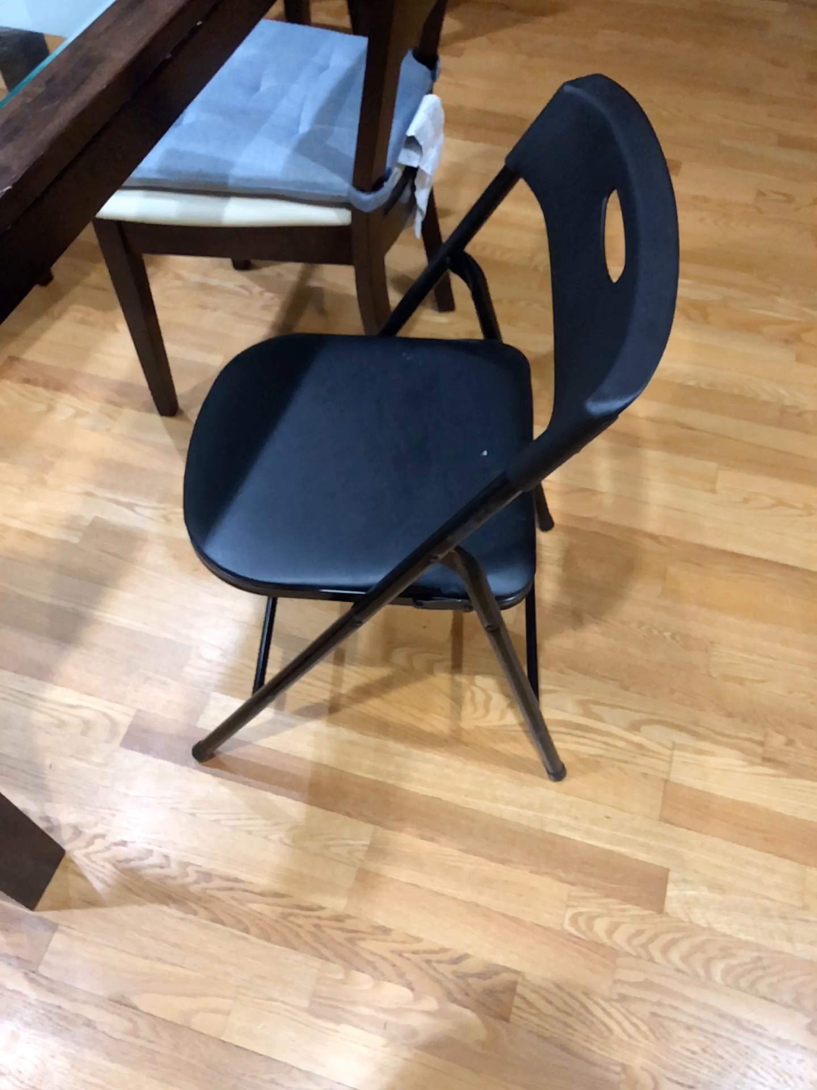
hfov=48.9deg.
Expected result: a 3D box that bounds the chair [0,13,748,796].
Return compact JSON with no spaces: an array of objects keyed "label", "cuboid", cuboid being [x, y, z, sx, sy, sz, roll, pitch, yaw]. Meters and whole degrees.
[{"label":"chair","cuboid":[-0.019,-0.105,1.018,0.520,0.697,0.522,3,55,3]}]
